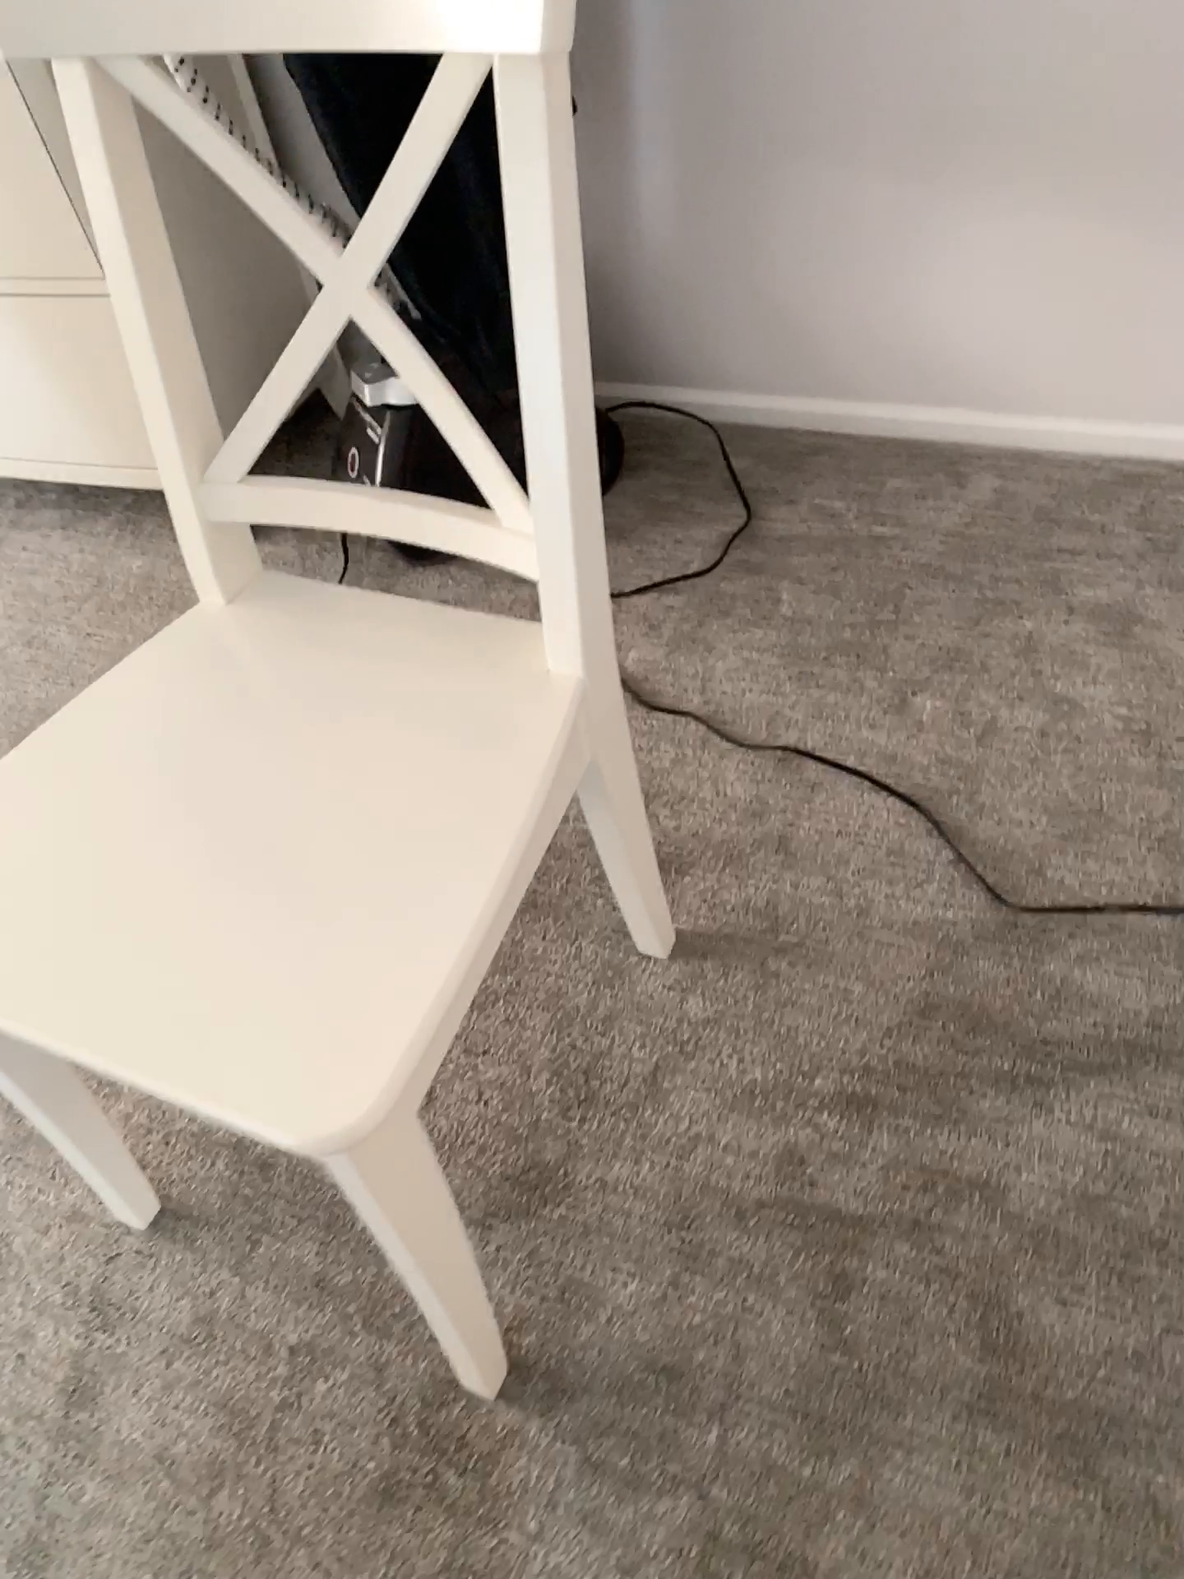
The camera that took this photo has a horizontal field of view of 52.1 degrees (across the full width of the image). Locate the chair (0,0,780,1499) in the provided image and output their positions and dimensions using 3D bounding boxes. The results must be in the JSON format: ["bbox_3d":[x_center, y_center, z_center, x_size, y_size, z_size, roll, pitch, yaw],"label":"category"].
[{"bbox_3d":[-0.278,-0.066,0.774,0.611,0.766,0.572,13,53,22],"label":"chair"}]
